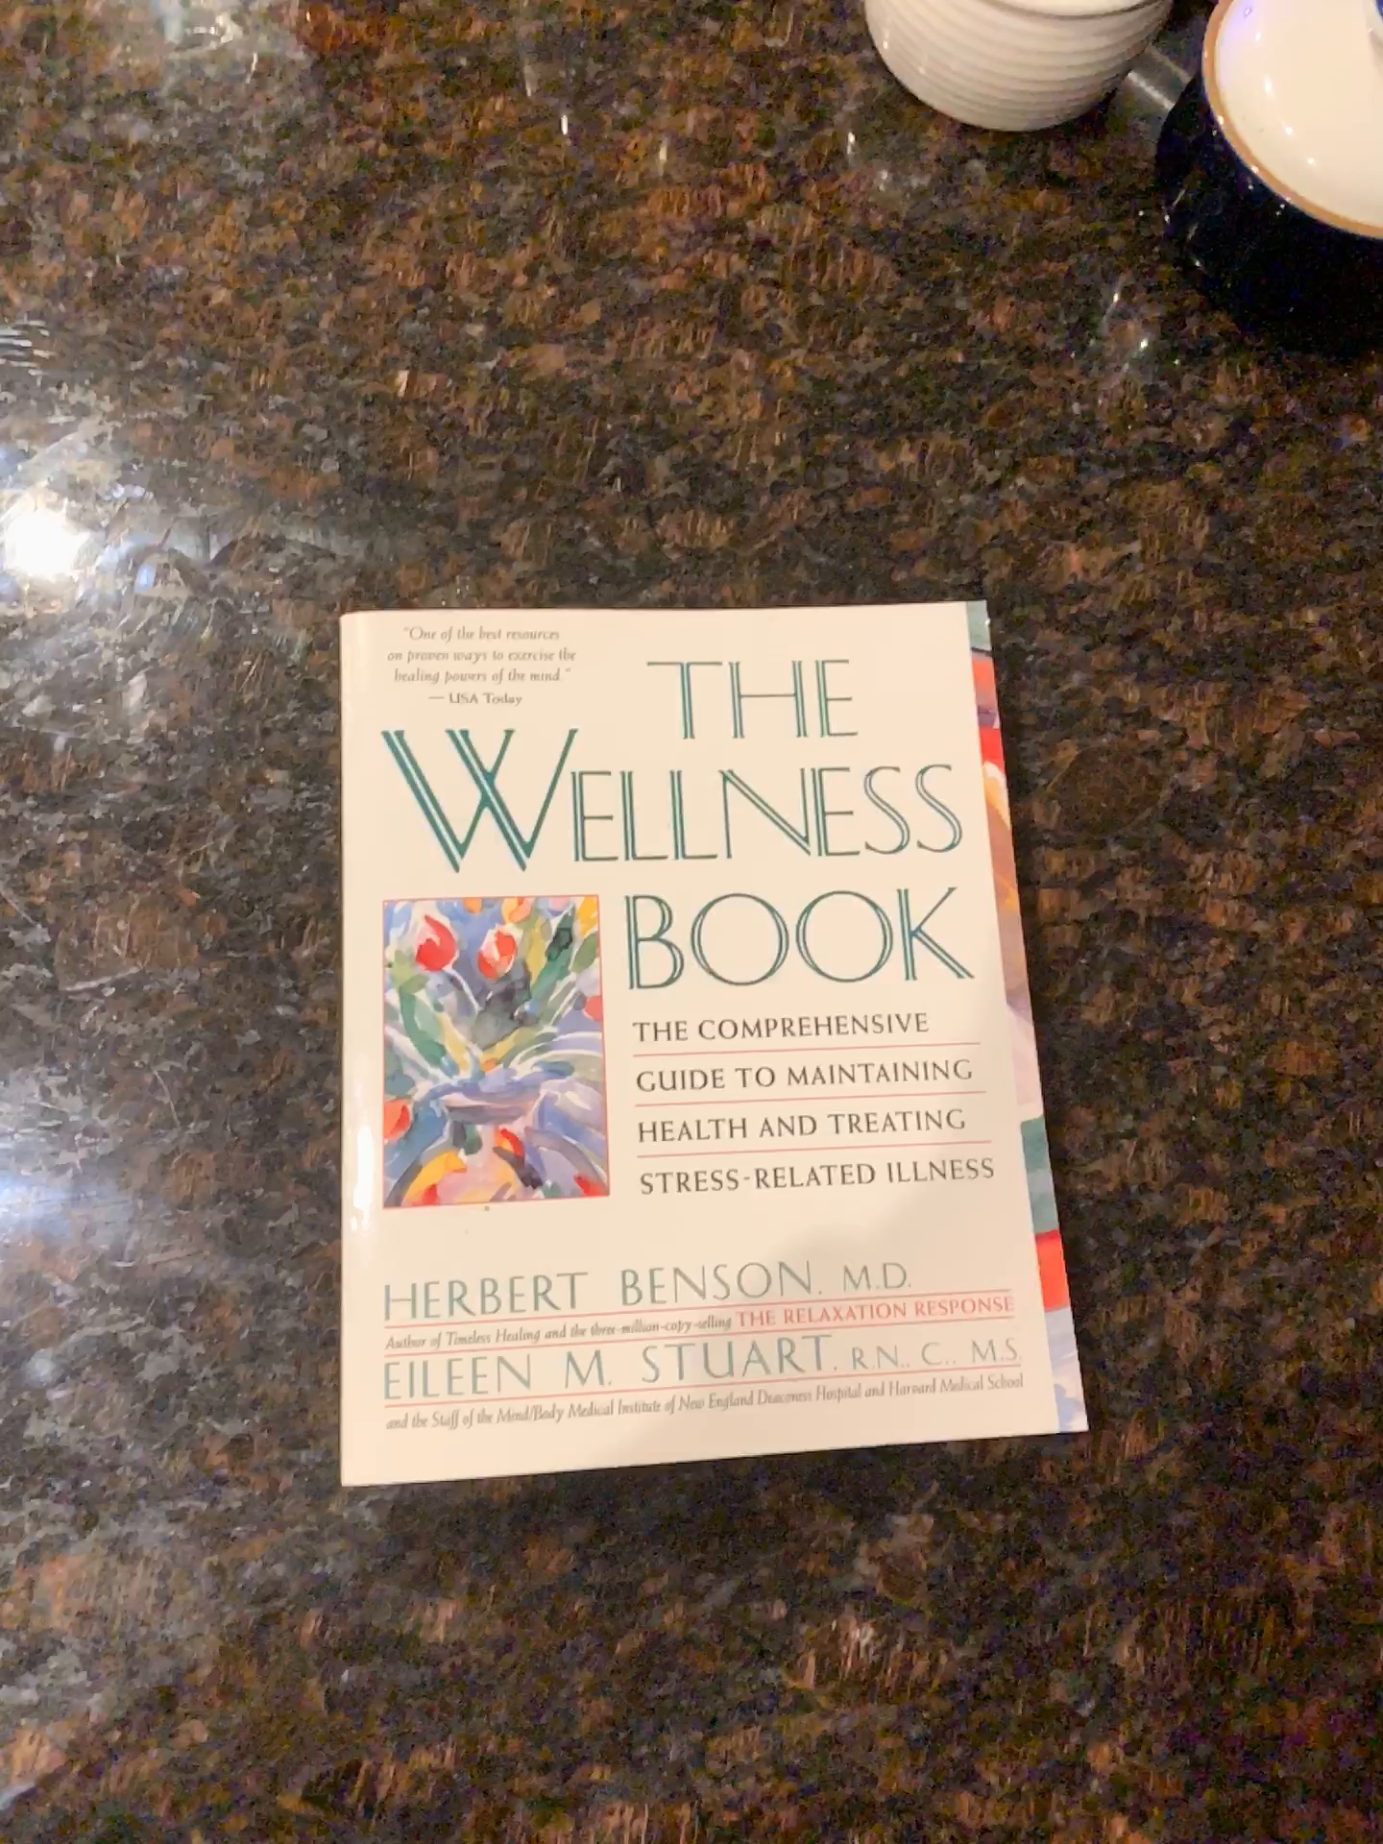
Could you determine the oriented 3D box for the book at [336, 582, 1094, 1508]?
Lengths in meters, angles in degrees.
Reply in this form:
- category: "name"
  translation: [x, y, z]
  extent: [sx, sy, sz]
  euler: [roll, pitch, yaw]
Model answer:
- category: "book"
  translation: [-0.001, 0.027, 0.406]
  extent: [0.187, 0.060, 0.240]
  euler: [-2, 76, -6]
